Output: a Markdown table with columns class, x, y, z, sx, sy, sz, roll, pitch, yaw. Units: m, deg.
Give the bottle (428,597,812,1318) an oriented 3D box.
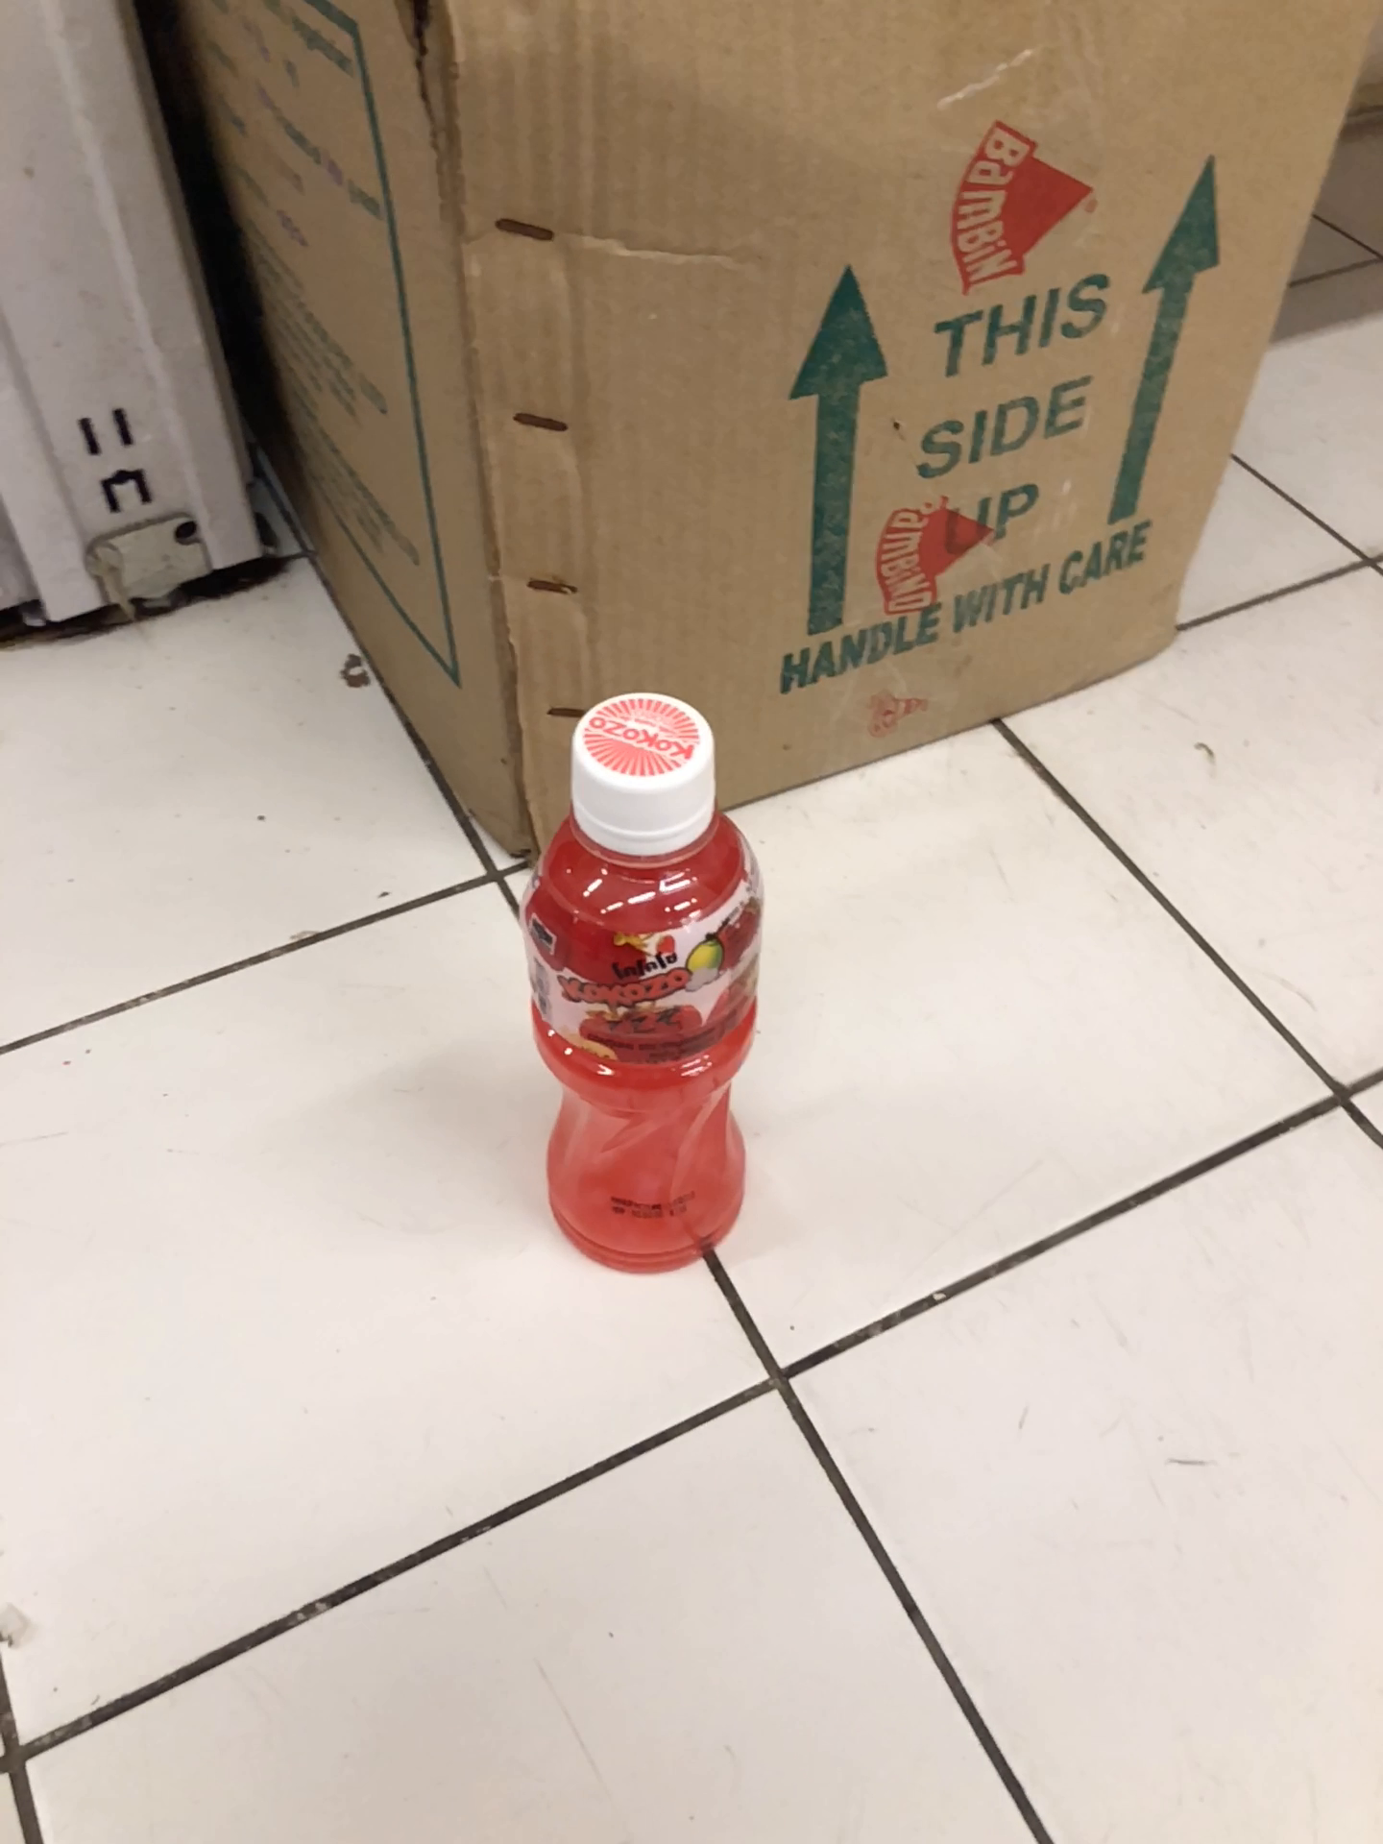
| class | x | y | z | sx | sy | sz | roll | pitch | yaw |
| --- | --- | --- | --- | --- | --- | --- | --- | --- | --- |
| bottle | -0.016 | 0.020 | 0.381 | 0.060 | 0.189 | 0.060 | 0 | 50 | 0 |
